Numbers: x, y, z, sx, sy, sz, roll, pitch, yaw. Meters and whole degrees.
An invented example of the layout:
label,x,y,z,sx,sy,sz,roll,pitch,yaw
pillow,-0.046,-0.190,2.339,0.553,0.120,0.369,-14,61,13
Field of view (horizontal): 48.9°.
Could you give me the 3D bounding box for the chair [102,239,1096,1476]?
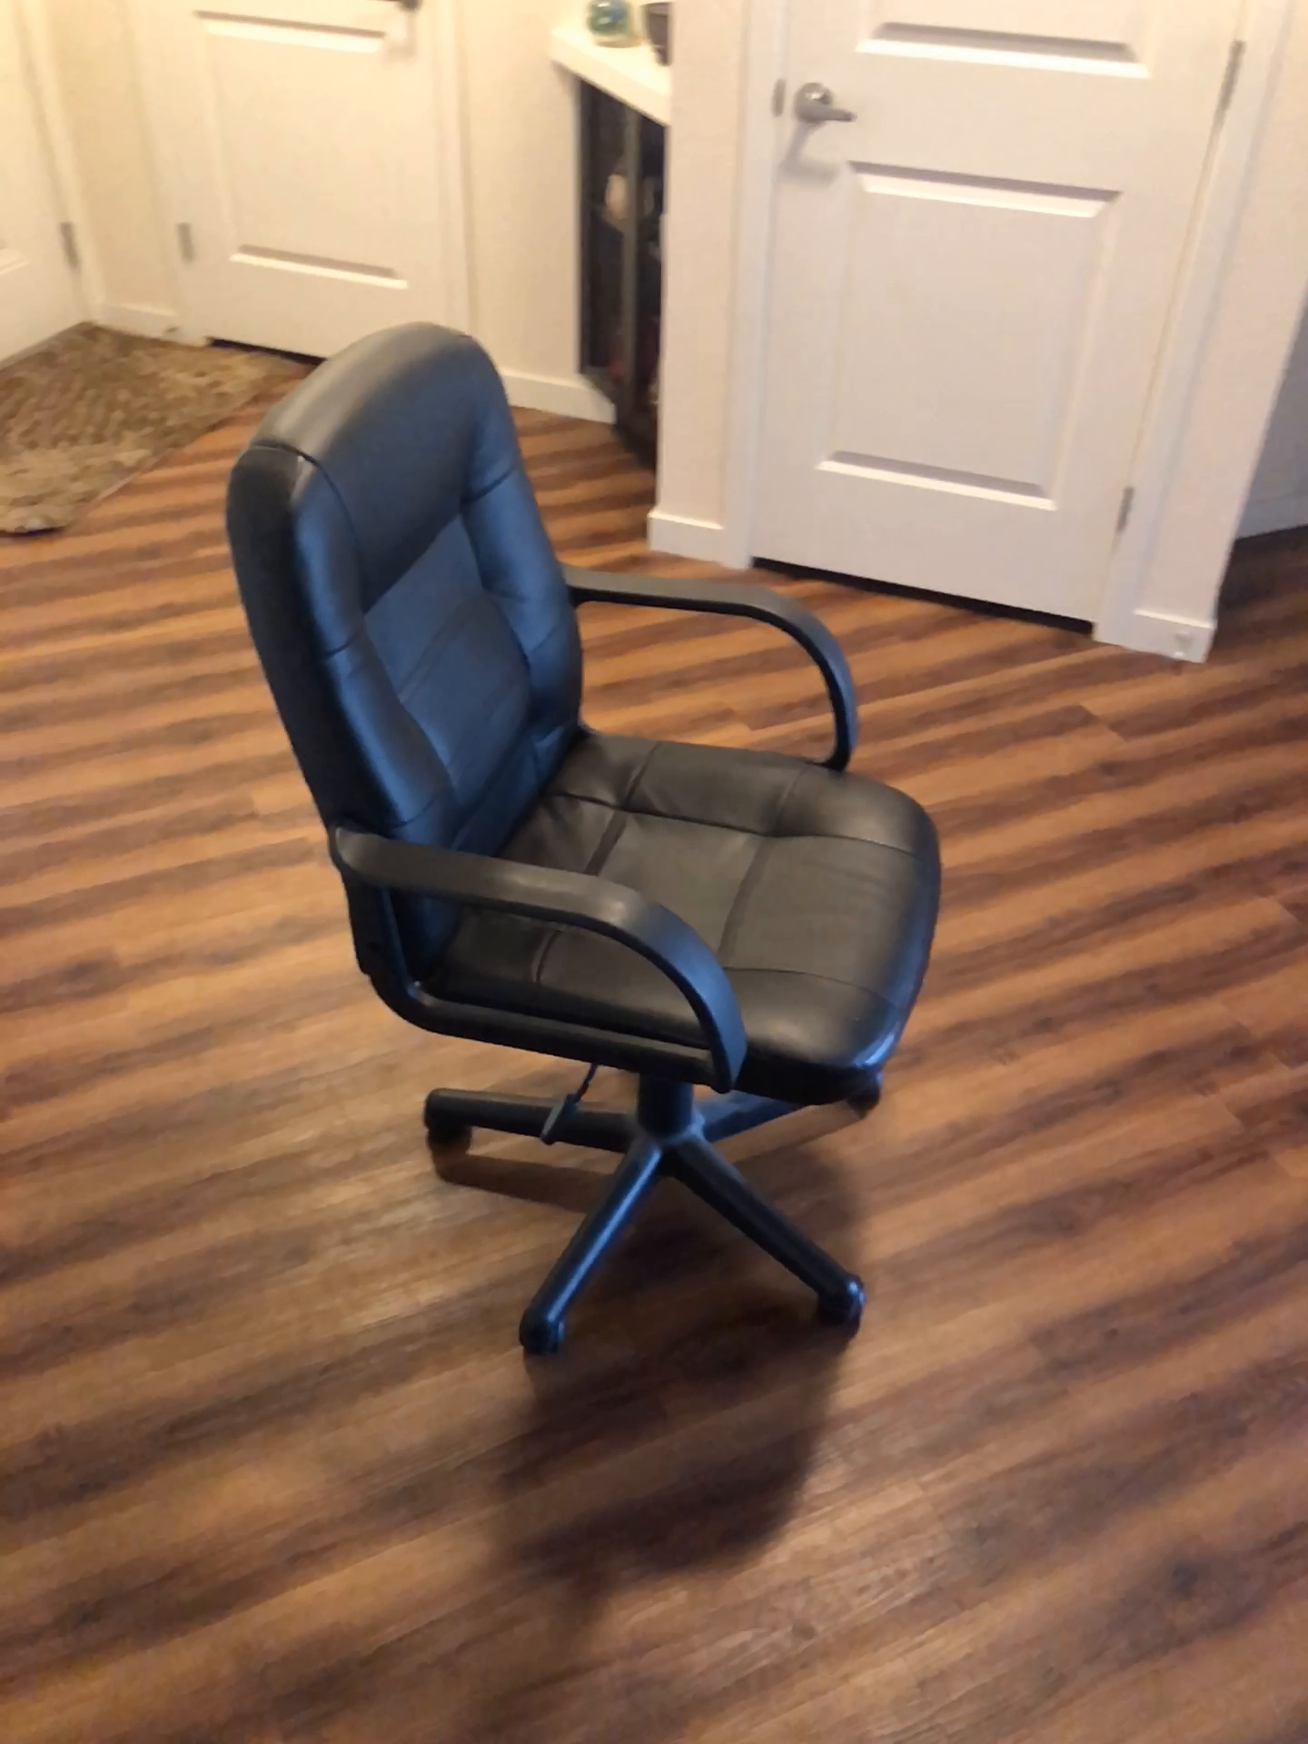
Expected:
label,x,y,z,sx,sy,sz,roll,pitch,yaw
chair,0.002,-0.015,1.532,0.667,1.012,0.665,12,40,12
